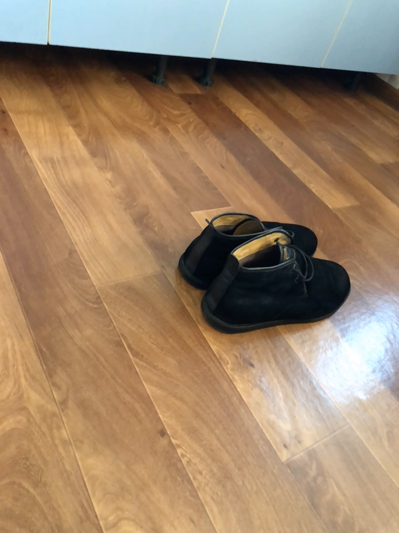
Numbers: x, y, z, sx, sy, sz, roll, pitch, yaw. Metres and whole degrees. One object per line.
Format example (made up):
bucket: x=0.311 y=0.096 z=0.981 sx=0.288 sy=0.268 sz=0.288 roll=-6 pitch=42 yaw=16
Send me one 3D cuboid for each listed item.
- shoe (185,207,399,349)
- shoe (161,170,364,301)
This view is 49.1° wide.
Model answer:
shoe: x=0.145 y=0.007 z=0.638 sx=0.291 sy=0.129 sz=0.110 roll=-8 pitch=49 yaw=-29
shoe: x=0.103 y=-0.059 z=0.703 sx=0.291 sy=0.129 sz=0.110 roll=-12 pitch=51 yaw=-33
